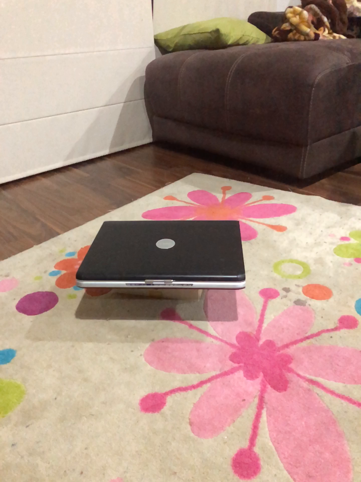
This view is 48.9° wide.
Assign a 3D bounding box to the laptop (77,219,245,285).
[{"bbox_3d":[-0.036,0.020,0.917,0.353,0.015,0.233,-1,34,8],"label":"laptop"}]
